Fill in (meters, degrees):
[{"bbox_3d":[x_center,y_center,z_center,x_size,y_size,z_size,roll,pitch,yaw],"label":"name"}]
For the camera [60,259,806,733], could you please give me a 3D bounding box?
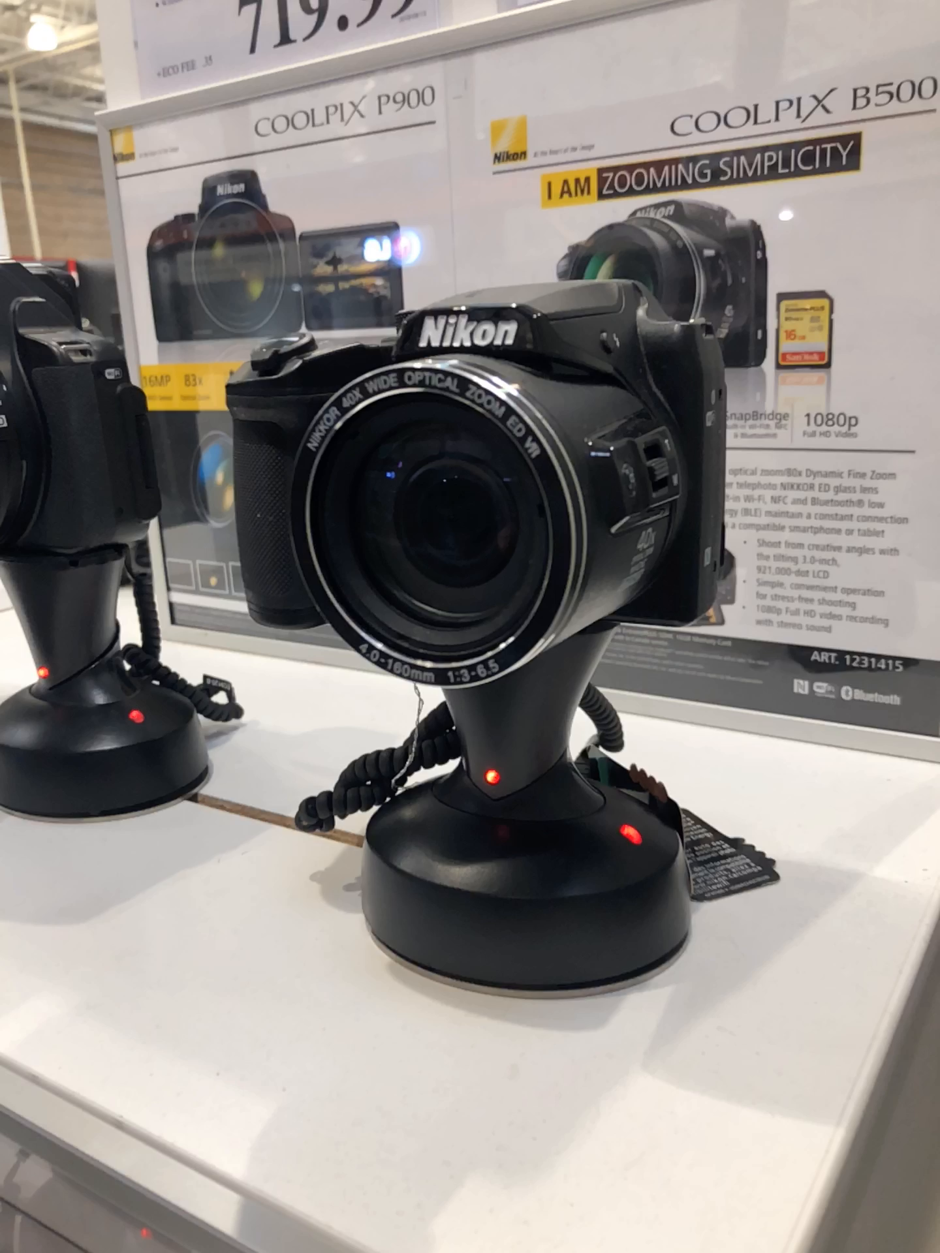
[{"bbox_3d":[-0.001,-0.035,0.224,0.120,0.070,0.100,5,17,29],"label":"camera"}]
